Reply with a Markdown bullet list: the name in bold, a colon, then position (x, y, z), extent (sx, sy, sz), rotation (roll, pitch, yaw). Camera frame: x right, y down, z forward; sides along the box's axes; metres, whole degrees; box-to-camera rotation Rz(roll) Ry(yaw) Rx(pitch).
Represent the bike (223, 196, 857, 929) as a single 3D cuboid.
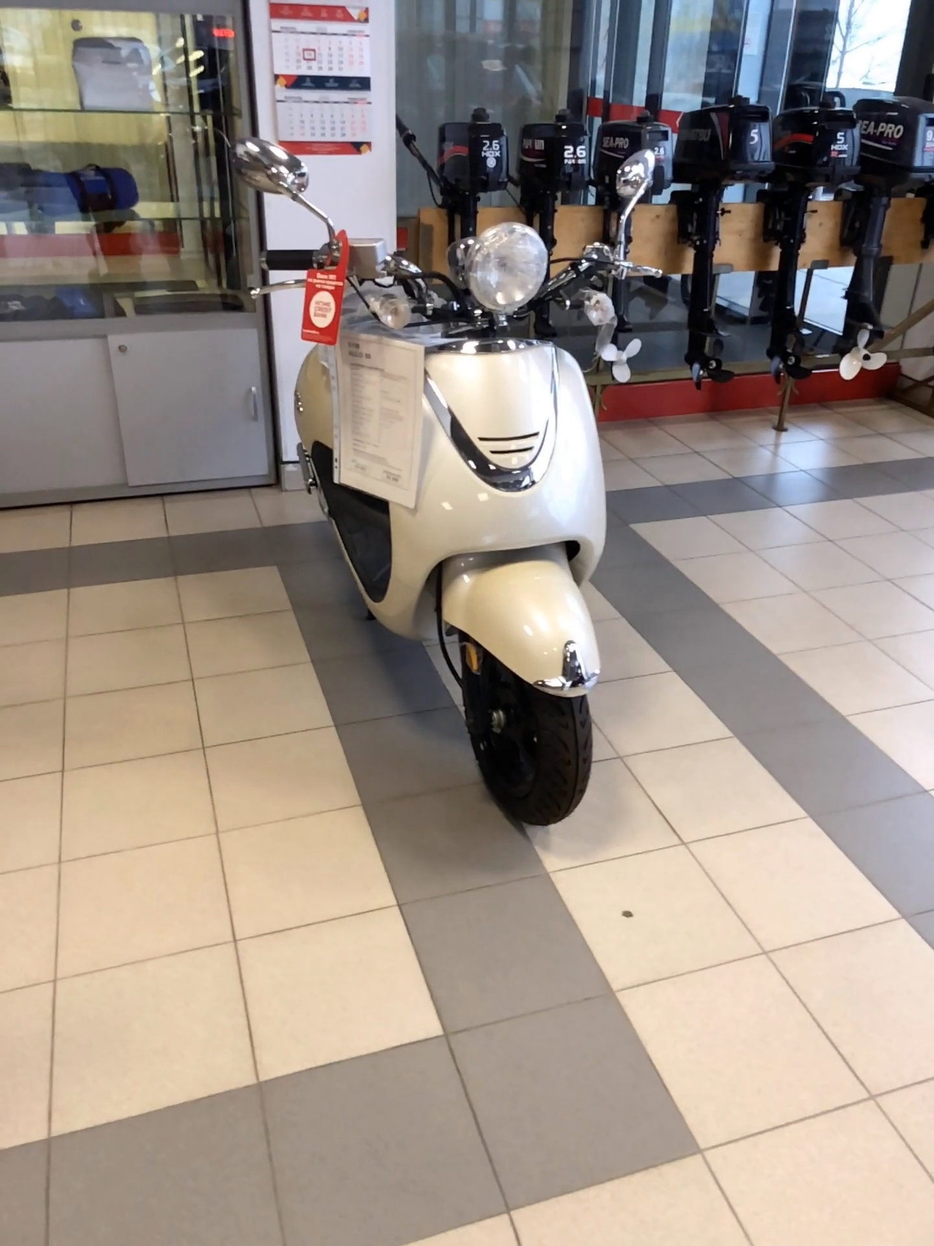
- **bike**: position (-0.035, -0.341, 2.431), extent (0.805, 0.963, 1.690), rotation (-7, 32, -16)
